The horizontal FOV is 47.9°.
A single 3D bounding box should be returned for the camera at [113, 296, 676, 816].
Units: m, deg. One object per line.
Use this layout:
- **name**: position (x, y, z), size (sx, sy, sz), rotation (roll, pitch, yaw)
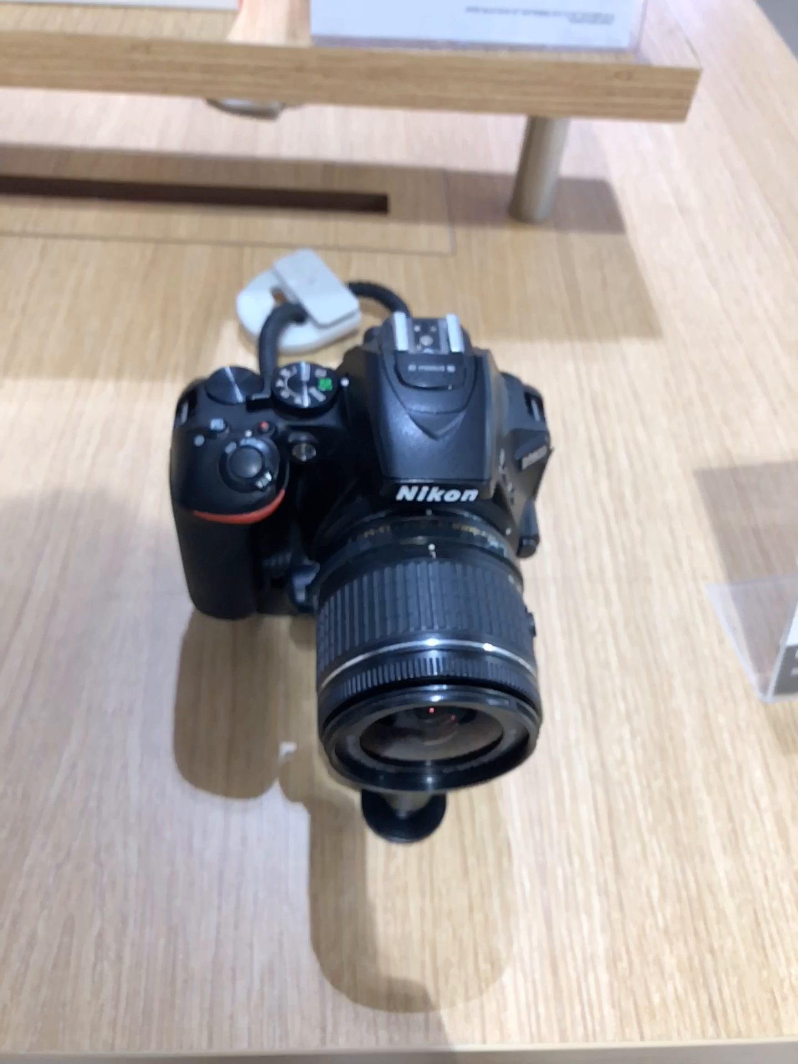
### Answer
- **camera**: position (-0.006, 0.002, 0.258), size (0.120, 0.070, 0.131), rotation (0, 51, -6)
